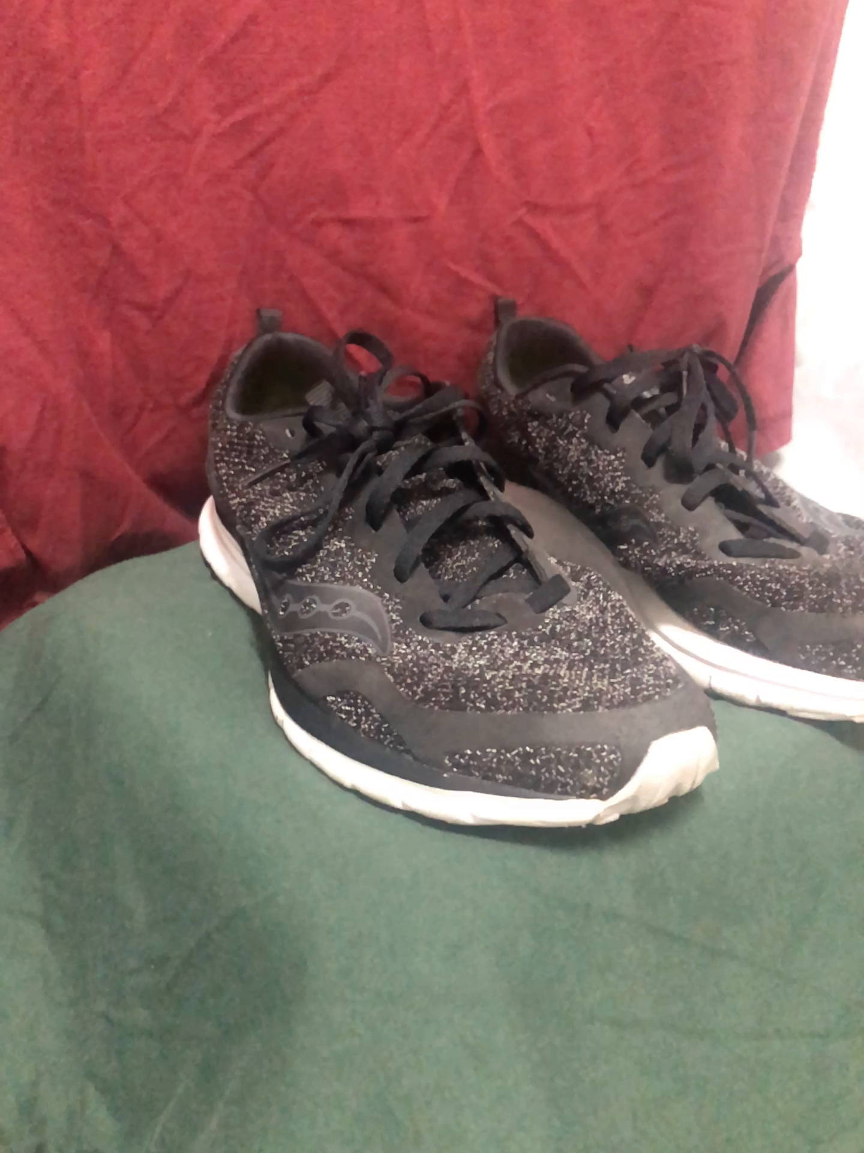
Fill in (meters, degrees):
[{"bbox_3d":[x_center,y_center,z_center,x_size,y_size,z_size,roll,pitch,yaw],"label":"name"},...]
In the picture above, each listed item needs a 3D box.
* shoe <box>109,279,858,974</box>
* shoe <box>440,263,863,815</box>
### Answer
[{"bbox_3d":[-0.014,-0.020,0.336,0.120,0.099,0.272,-15,33,-25],"label":"shoe"},{"bbox_3d":[0.117,-0.044,0.383,0.120,0.099,0.262,-14,33,-24],"label":"shoe"}]
